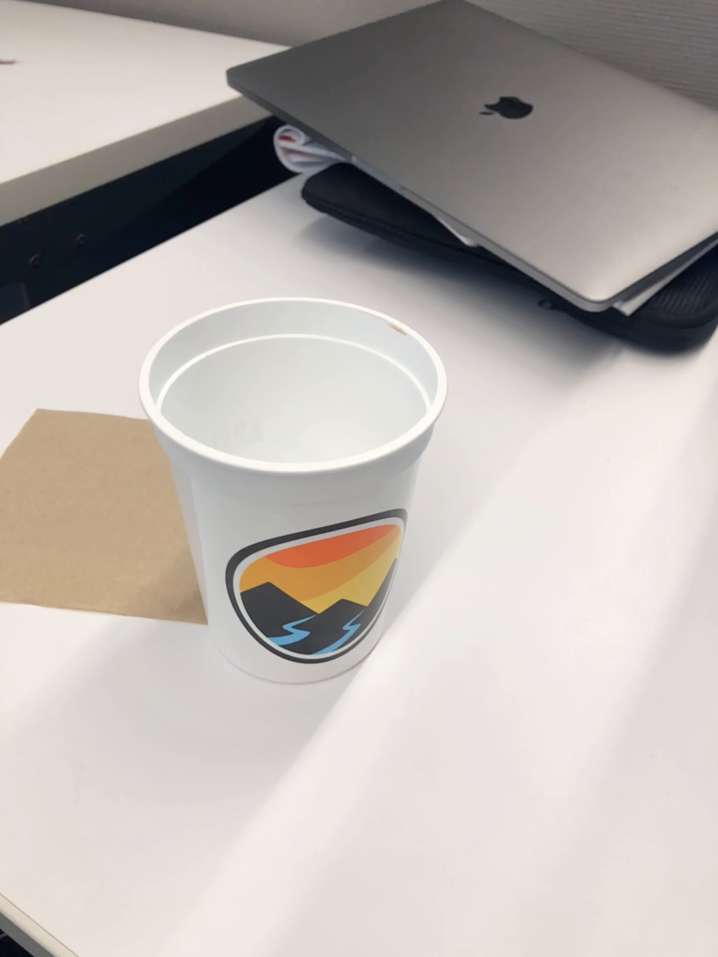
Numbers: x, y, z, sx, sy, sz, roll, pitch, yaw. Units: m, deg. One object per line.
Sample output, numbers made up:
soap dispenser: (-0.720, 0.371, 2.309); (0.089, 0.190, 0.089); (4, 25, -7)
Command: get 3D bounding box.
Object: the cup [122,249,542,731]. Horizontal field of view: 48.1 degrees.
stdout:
cup: (-0.014, -0.001, 0.250); (0.090, 0.099, 0.090); (1, 39, -1)
